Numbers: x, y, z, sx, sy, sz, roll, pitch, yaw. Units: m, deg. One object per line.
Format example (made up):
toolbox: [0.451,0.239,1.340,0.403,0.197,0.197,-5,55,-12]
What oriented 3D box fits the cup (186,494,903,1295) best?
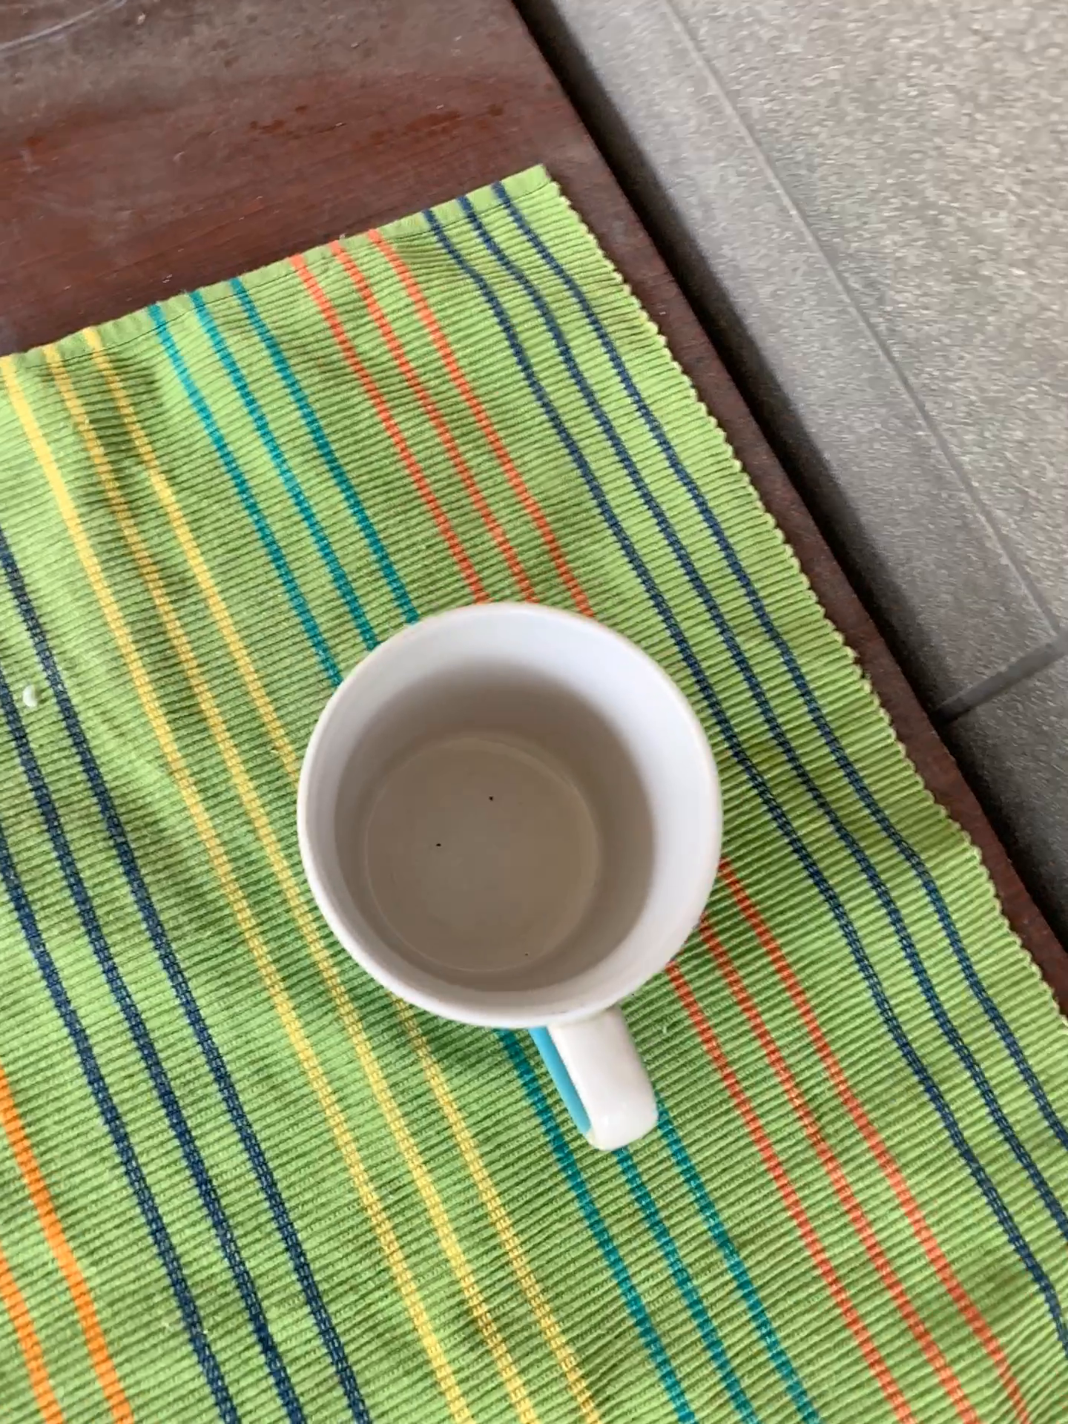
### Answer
cup: [-0.005,0.044,0.281,0.100,0.100,0.140,-26,78,-15]
